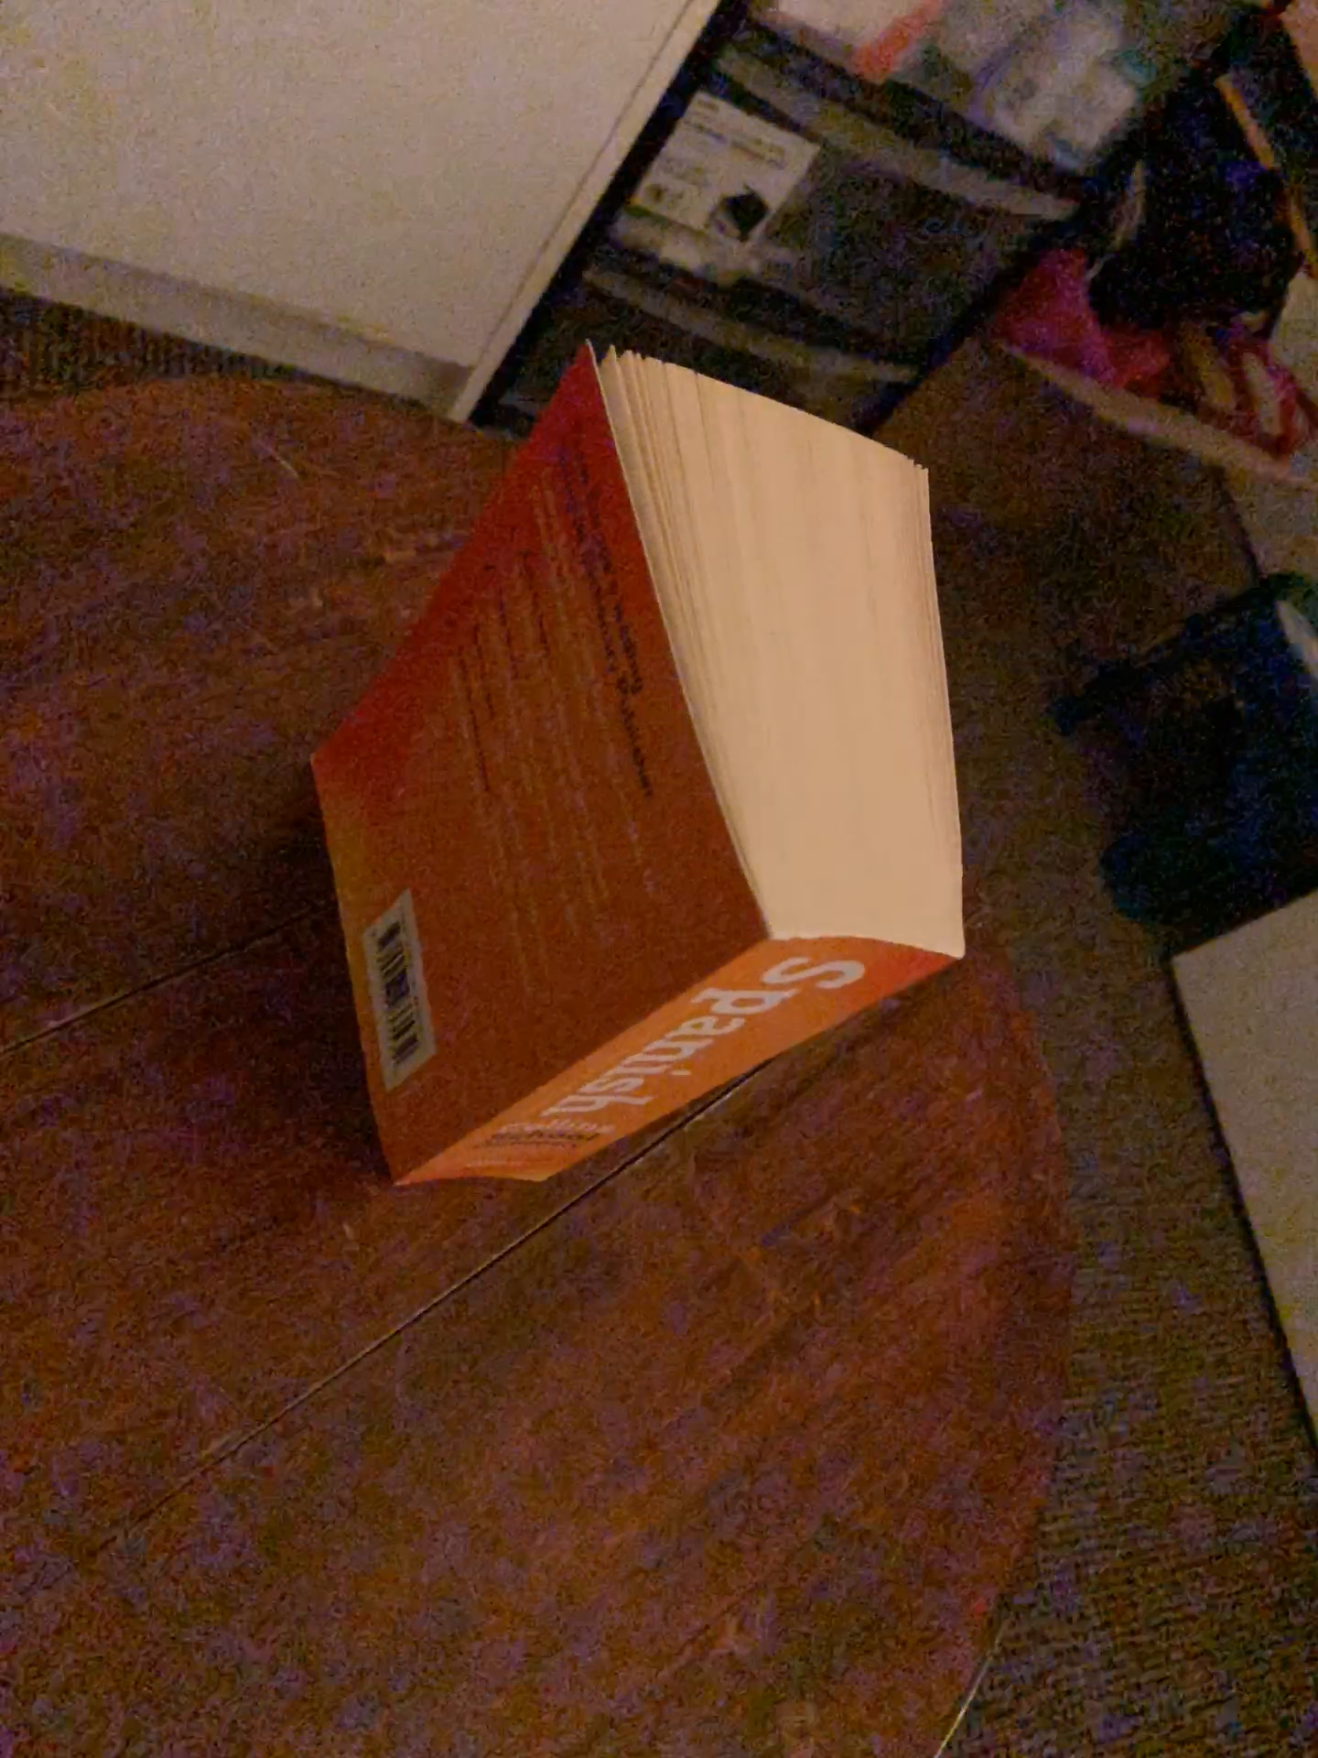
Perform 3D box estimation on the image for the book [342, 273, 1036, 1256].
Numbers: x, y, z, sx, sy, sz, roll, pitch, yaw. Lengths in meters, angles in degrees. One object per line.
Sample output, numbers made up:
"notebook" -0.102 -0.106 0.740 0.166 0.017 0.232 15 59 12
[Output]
"book" -0.006 -0.007 0.284 0.080 0.149 0.141 10 64 -18
